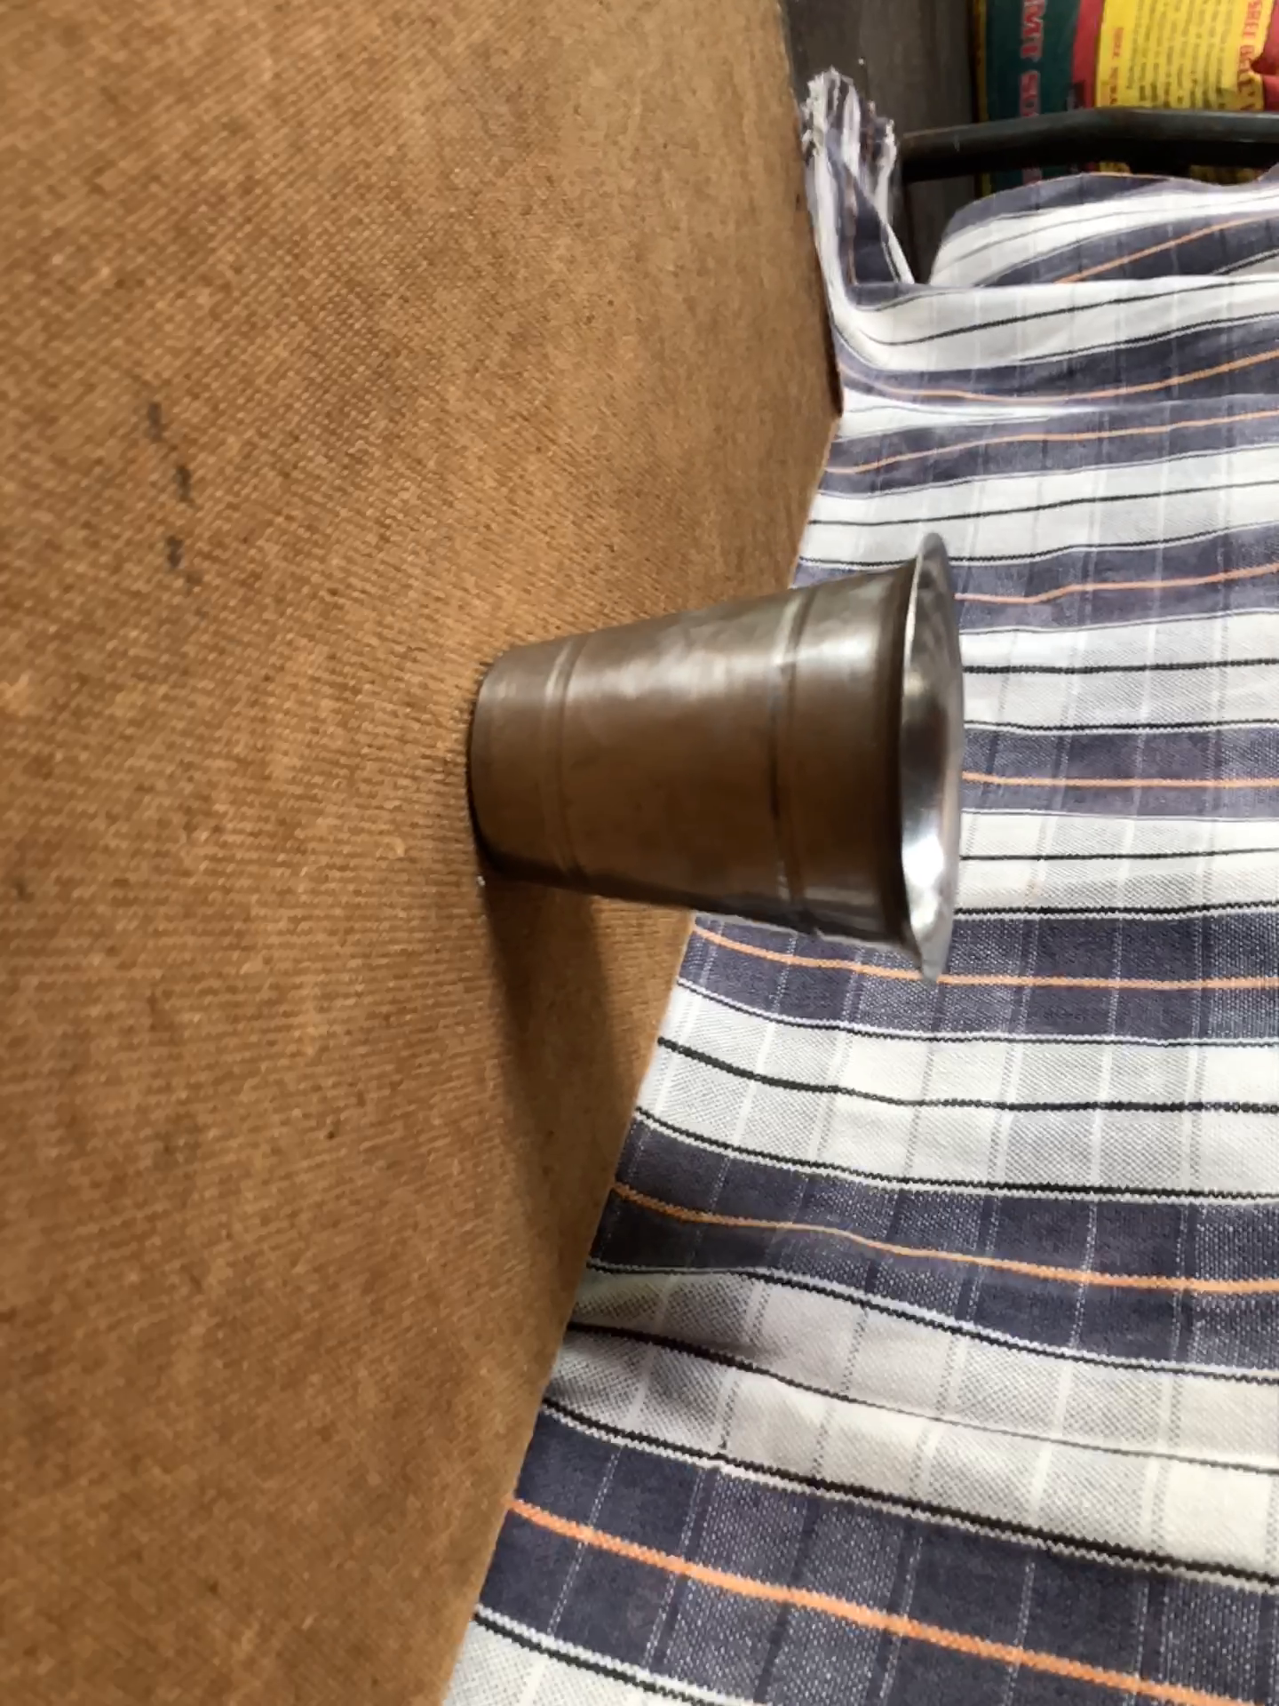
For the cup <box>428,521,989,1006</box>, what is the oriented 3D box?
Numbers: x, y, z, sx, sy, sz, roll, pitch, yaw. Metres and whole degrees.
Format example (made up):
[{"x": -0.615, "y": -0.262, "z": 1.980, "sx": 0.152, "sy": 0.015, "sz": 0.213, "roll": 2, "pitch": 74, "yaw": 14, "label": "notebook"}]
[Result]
[{"x": 0.017, "y": -0.018, "z": 0.248, "sx": 0.060, "sy": 0.080, "sz": 0.070, "roll": -39, "pitch": 127, "yaw": -67, "label": "cup"}]
